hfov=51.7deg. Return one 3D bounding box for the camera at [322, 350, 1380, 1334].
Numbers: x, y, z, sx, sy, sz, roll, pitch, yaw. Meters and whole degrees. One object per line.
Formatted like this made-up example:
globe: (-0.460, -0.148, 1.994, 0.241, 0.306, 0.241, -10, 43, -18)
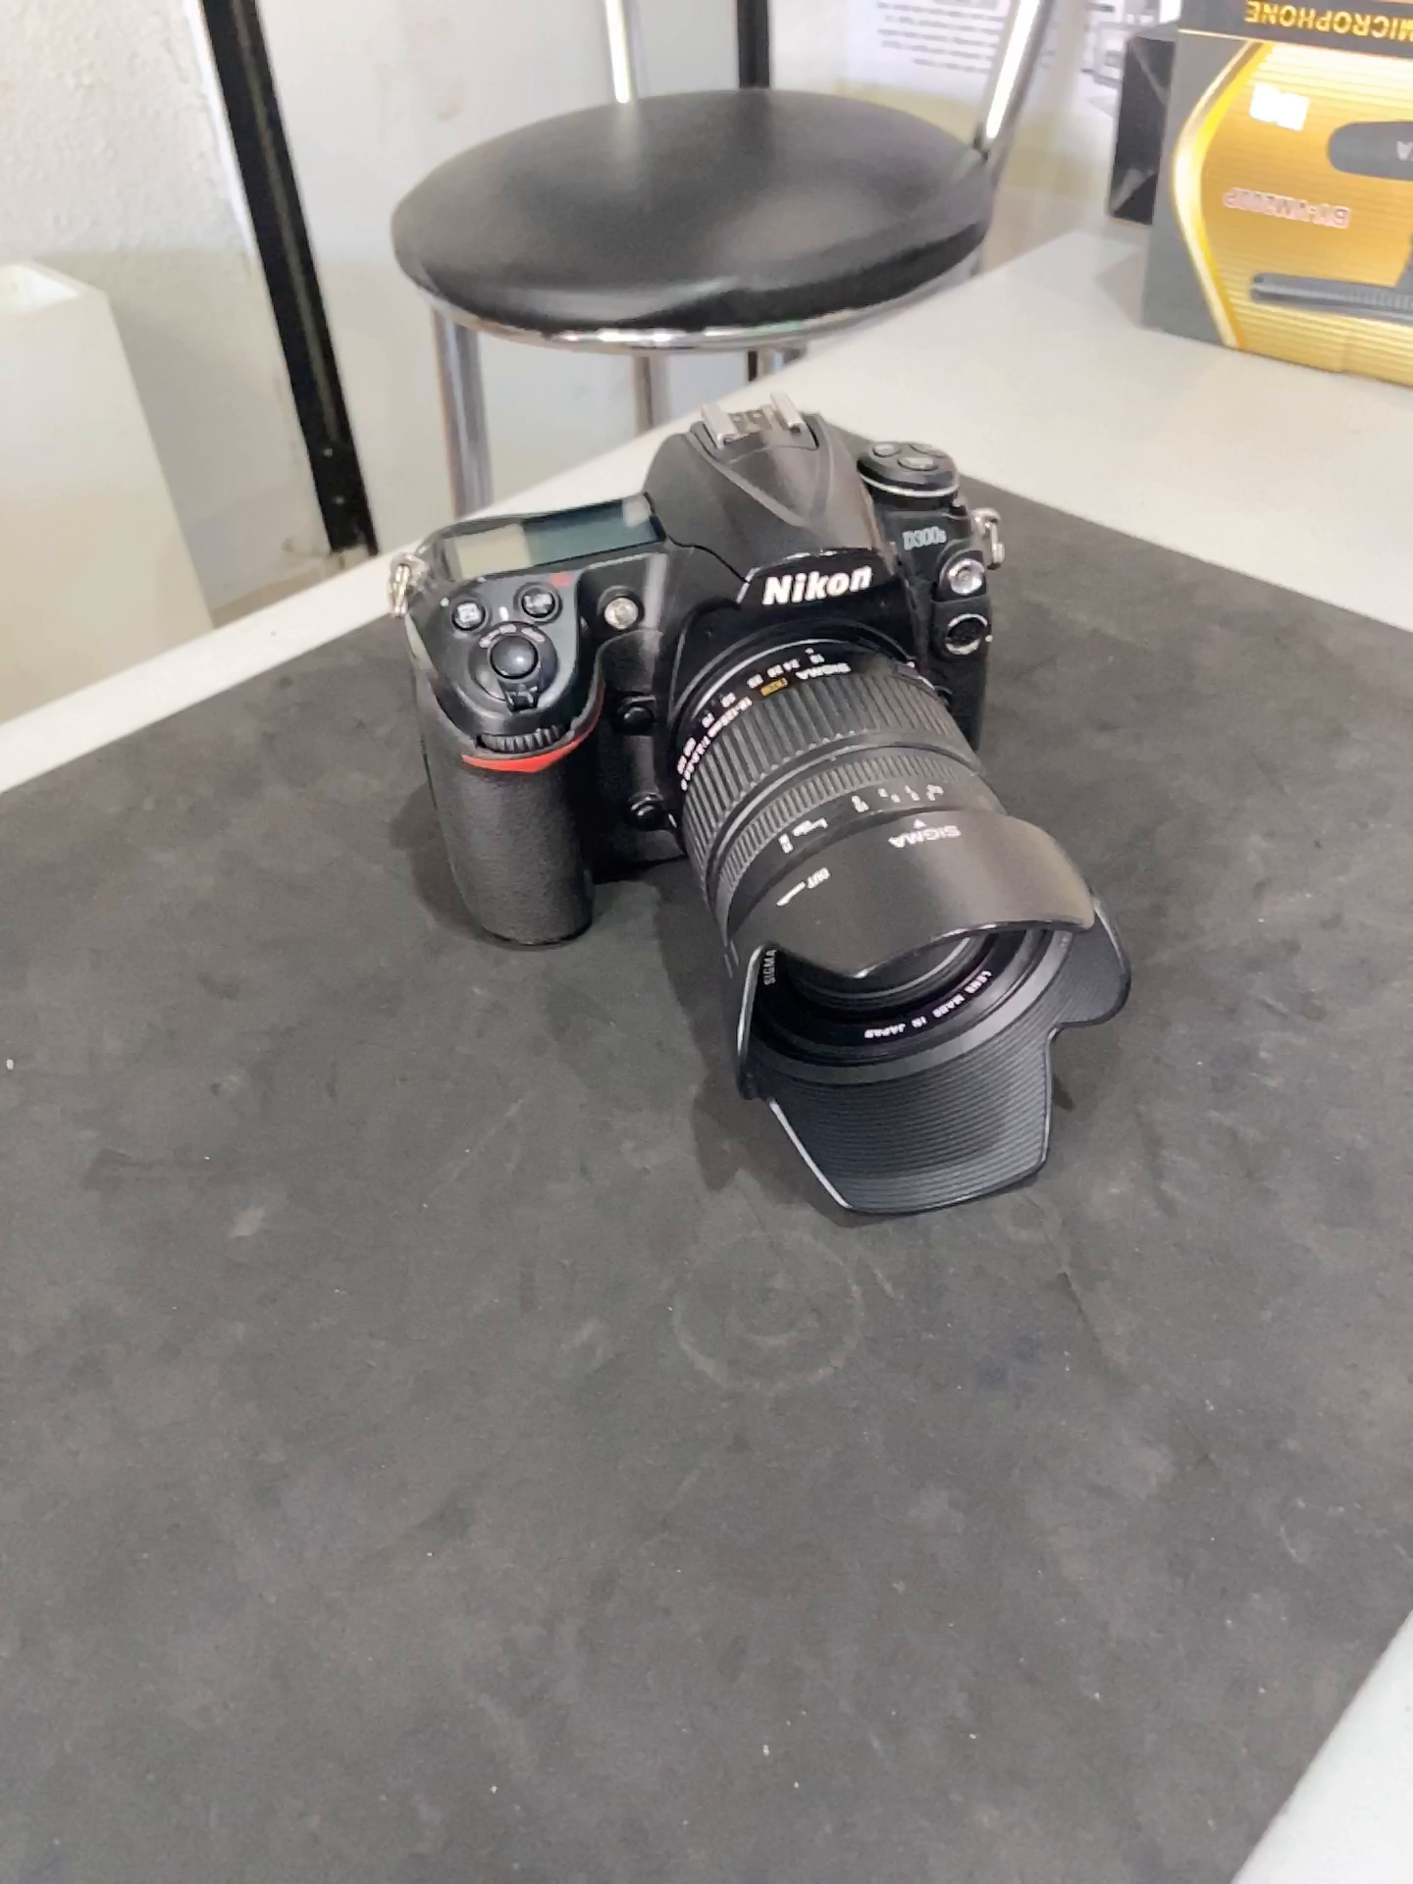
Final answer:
camera: (0.013, -0.036, 0.334, 0.170, 0.109, 0.181, -11, 42, -7)
